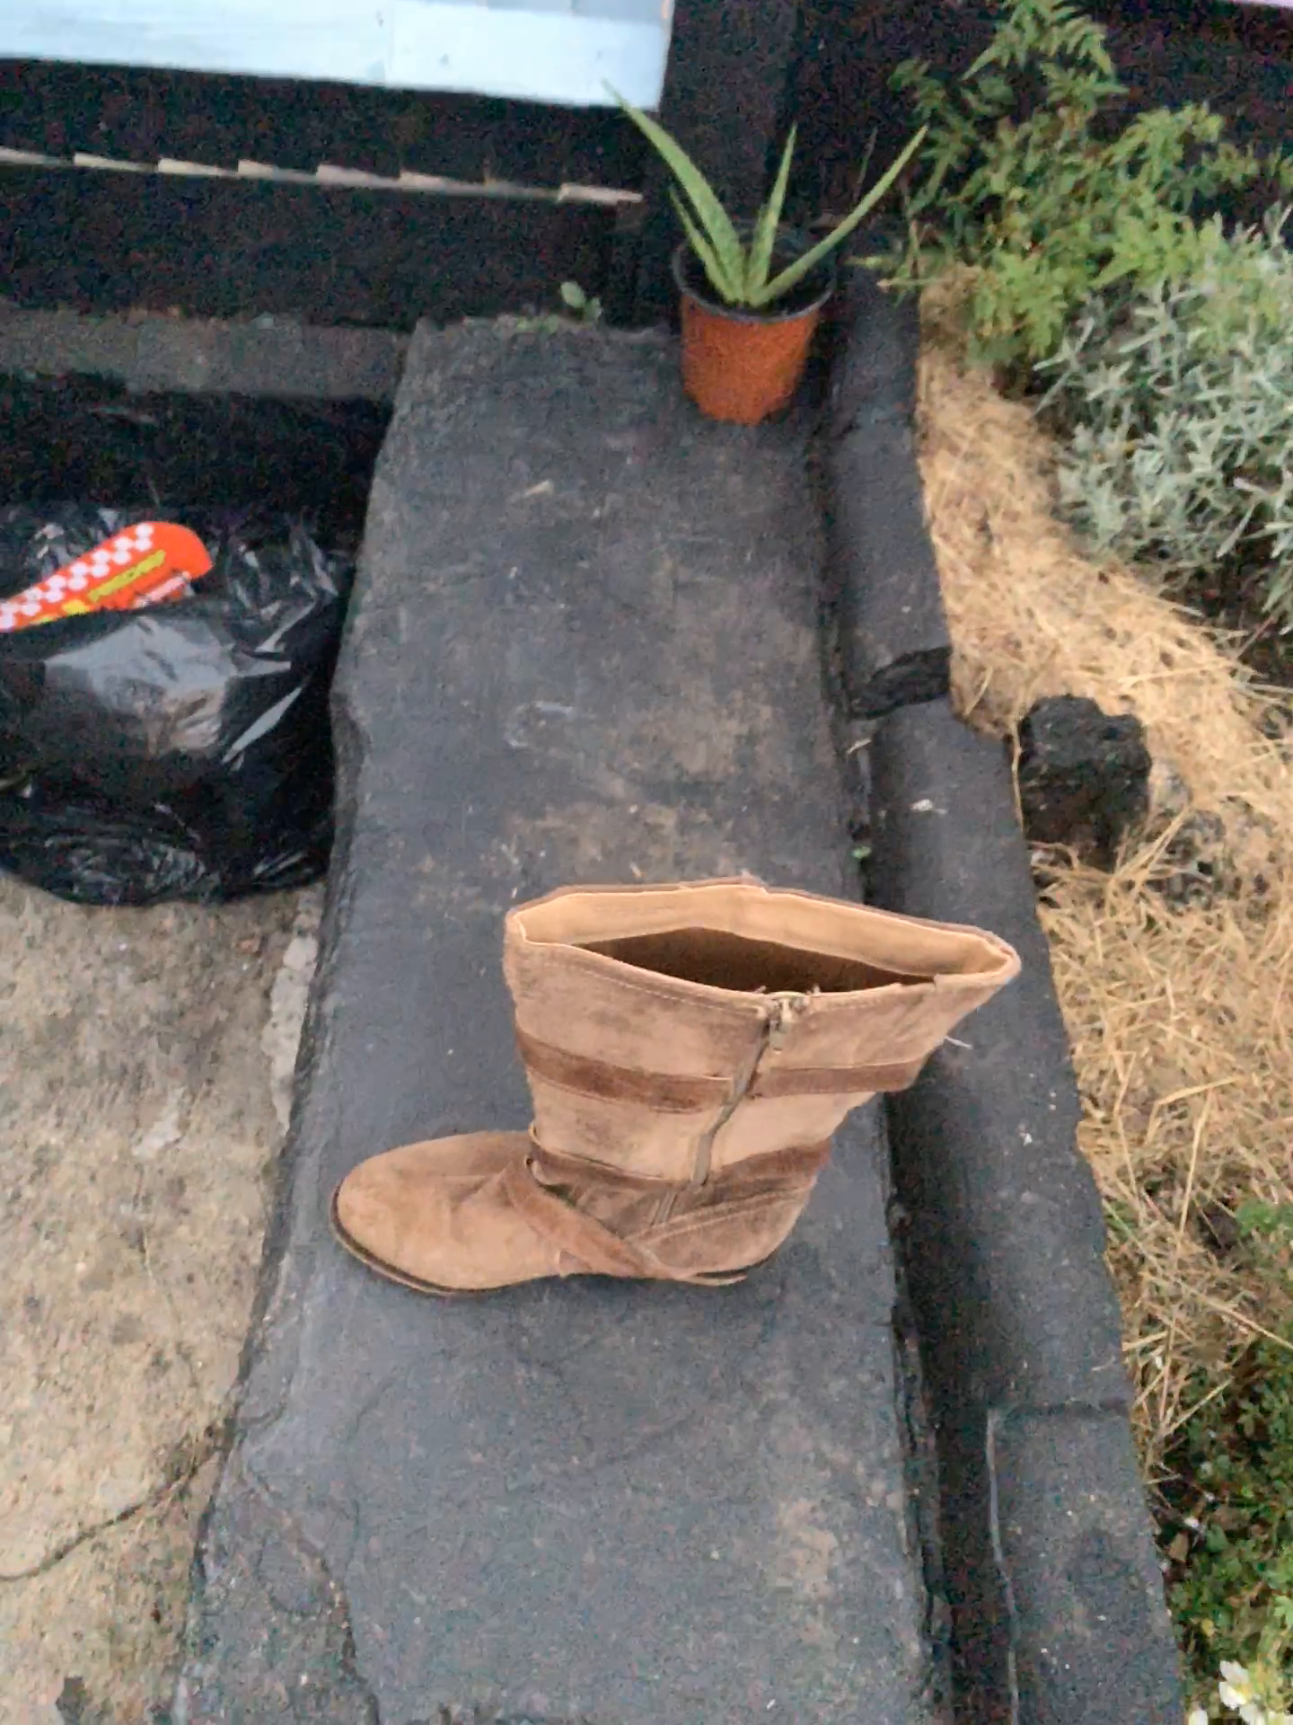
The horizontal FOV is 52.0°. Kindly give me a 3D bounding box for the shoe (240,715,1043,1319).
[{"bbox_3d":[-0.019,0.104,0.625,0.270,0.377,0.101,5,55,-5],"label":"shoe"}]
